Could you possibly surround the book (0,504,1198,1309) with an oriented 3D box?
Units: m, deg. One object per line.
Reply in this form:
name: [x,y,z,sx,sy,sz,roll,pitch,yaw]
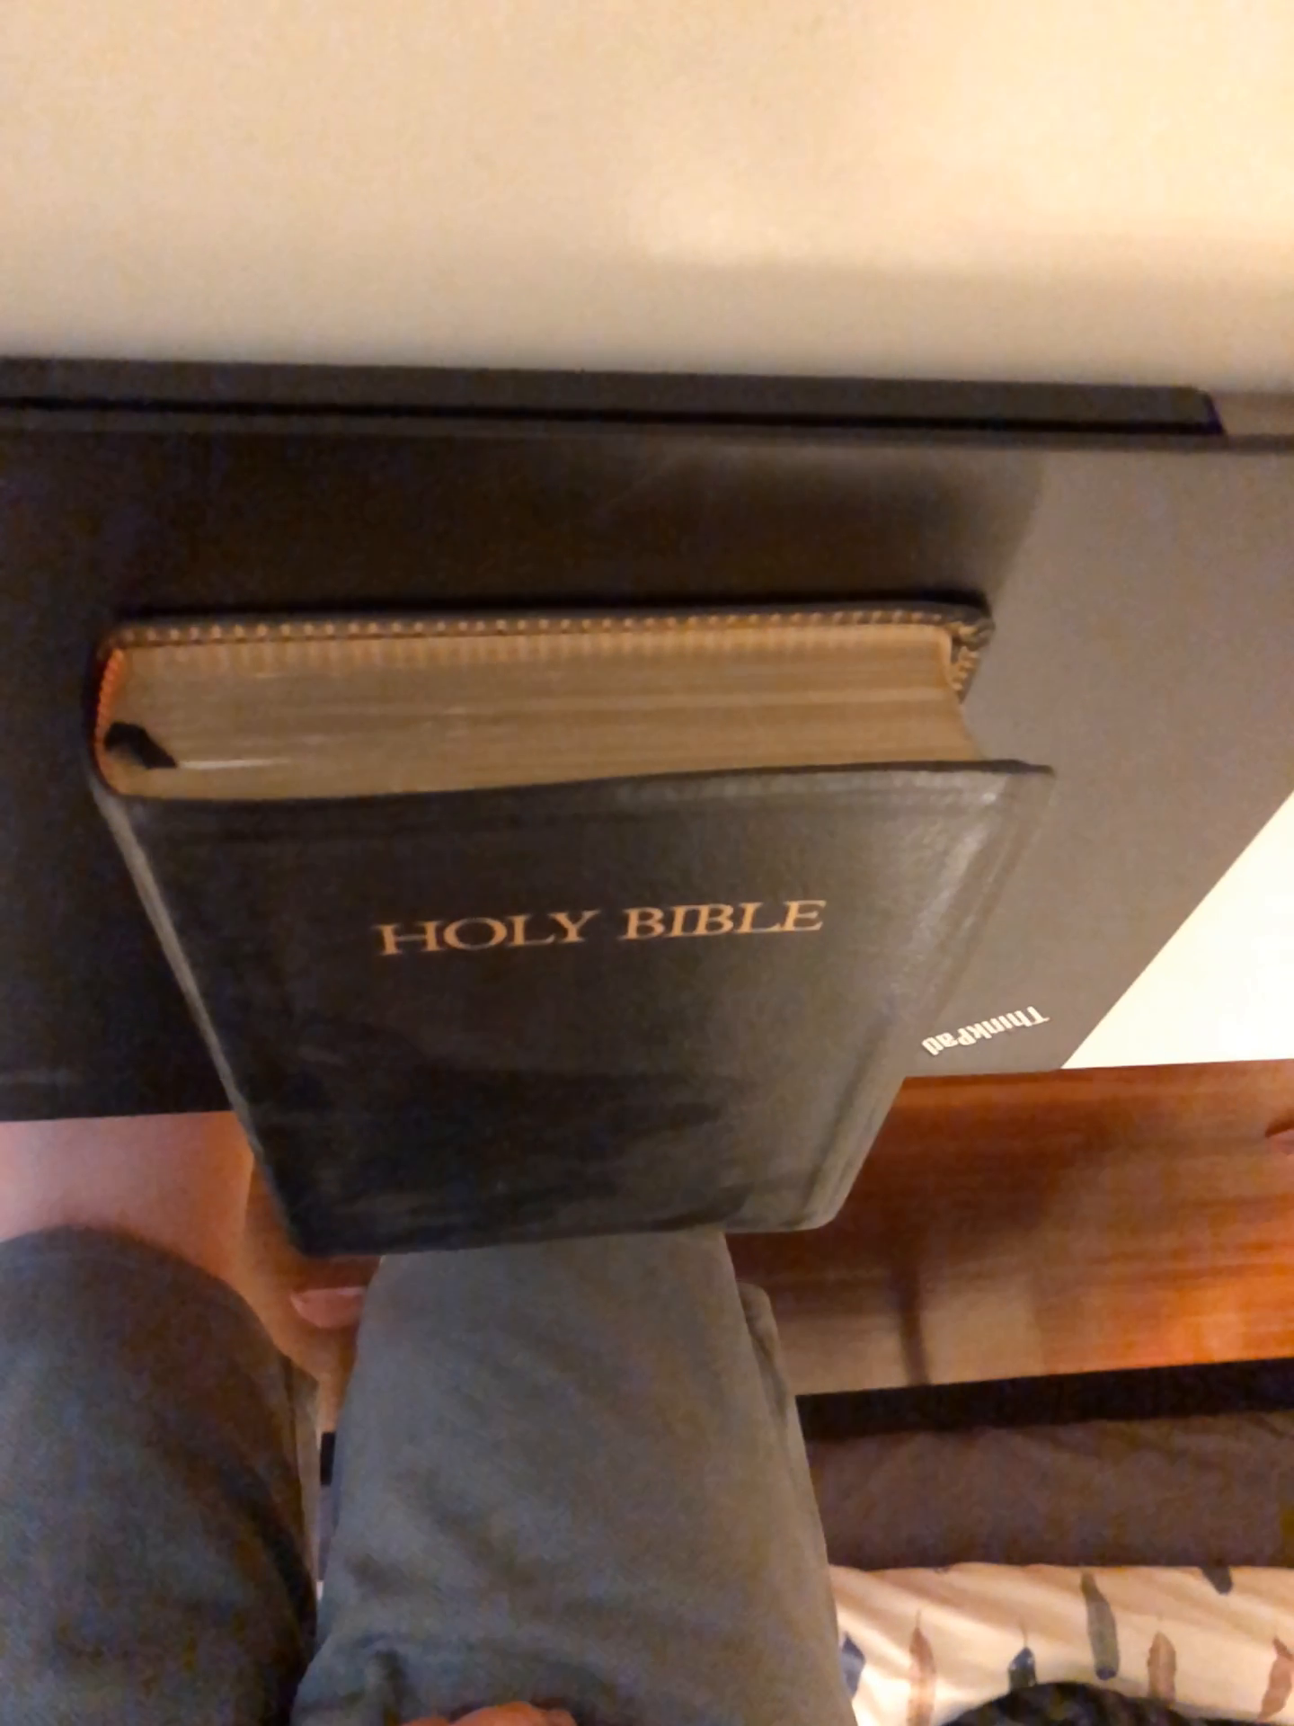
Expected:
book: [-0.017,0.031,0.302,0.170,0.040,0.241,-2,146,-7]
